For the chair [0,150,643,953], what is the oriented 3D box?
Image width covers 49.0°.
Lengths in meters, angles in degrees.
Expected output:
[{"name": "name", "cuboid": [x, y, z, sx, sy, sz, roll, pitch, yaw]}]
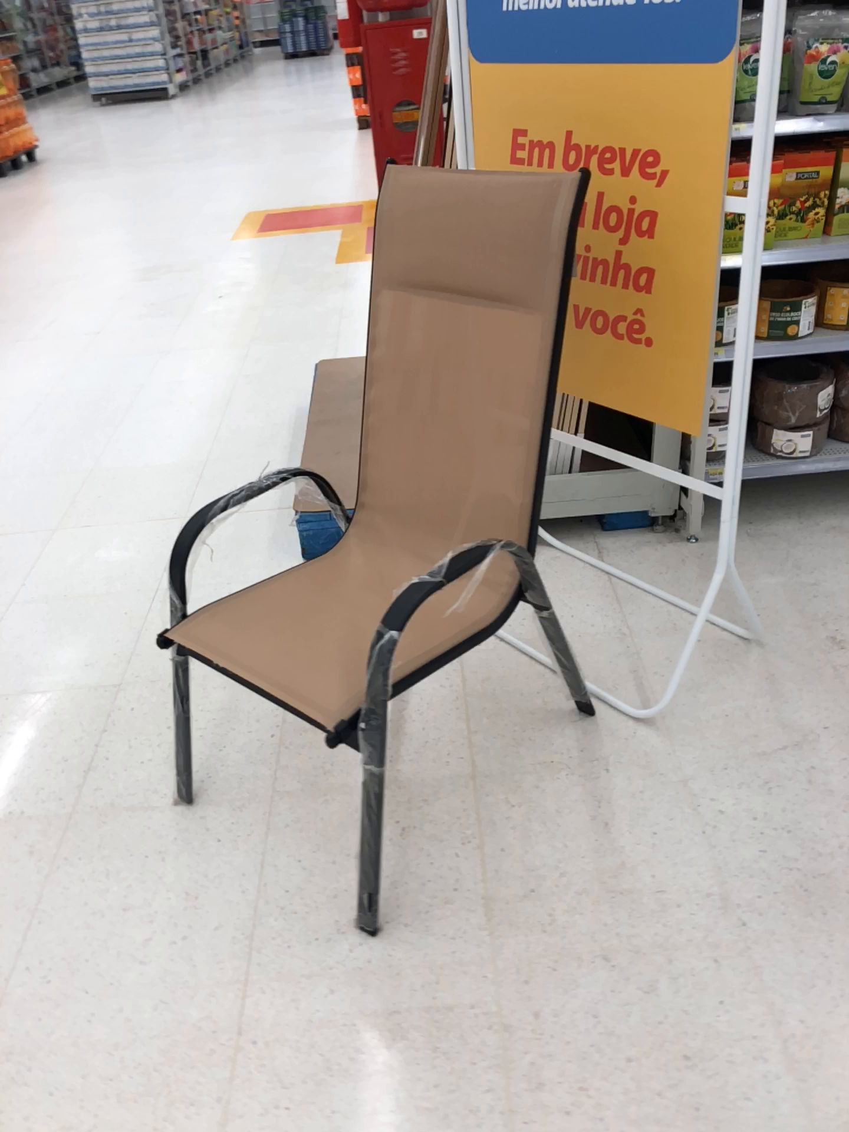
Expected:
[{"name": "chair", "cuboid": [-0.112, -0.086, 1.530, 0.622, 0.973, 0.703, 21, 41, 37]}]
